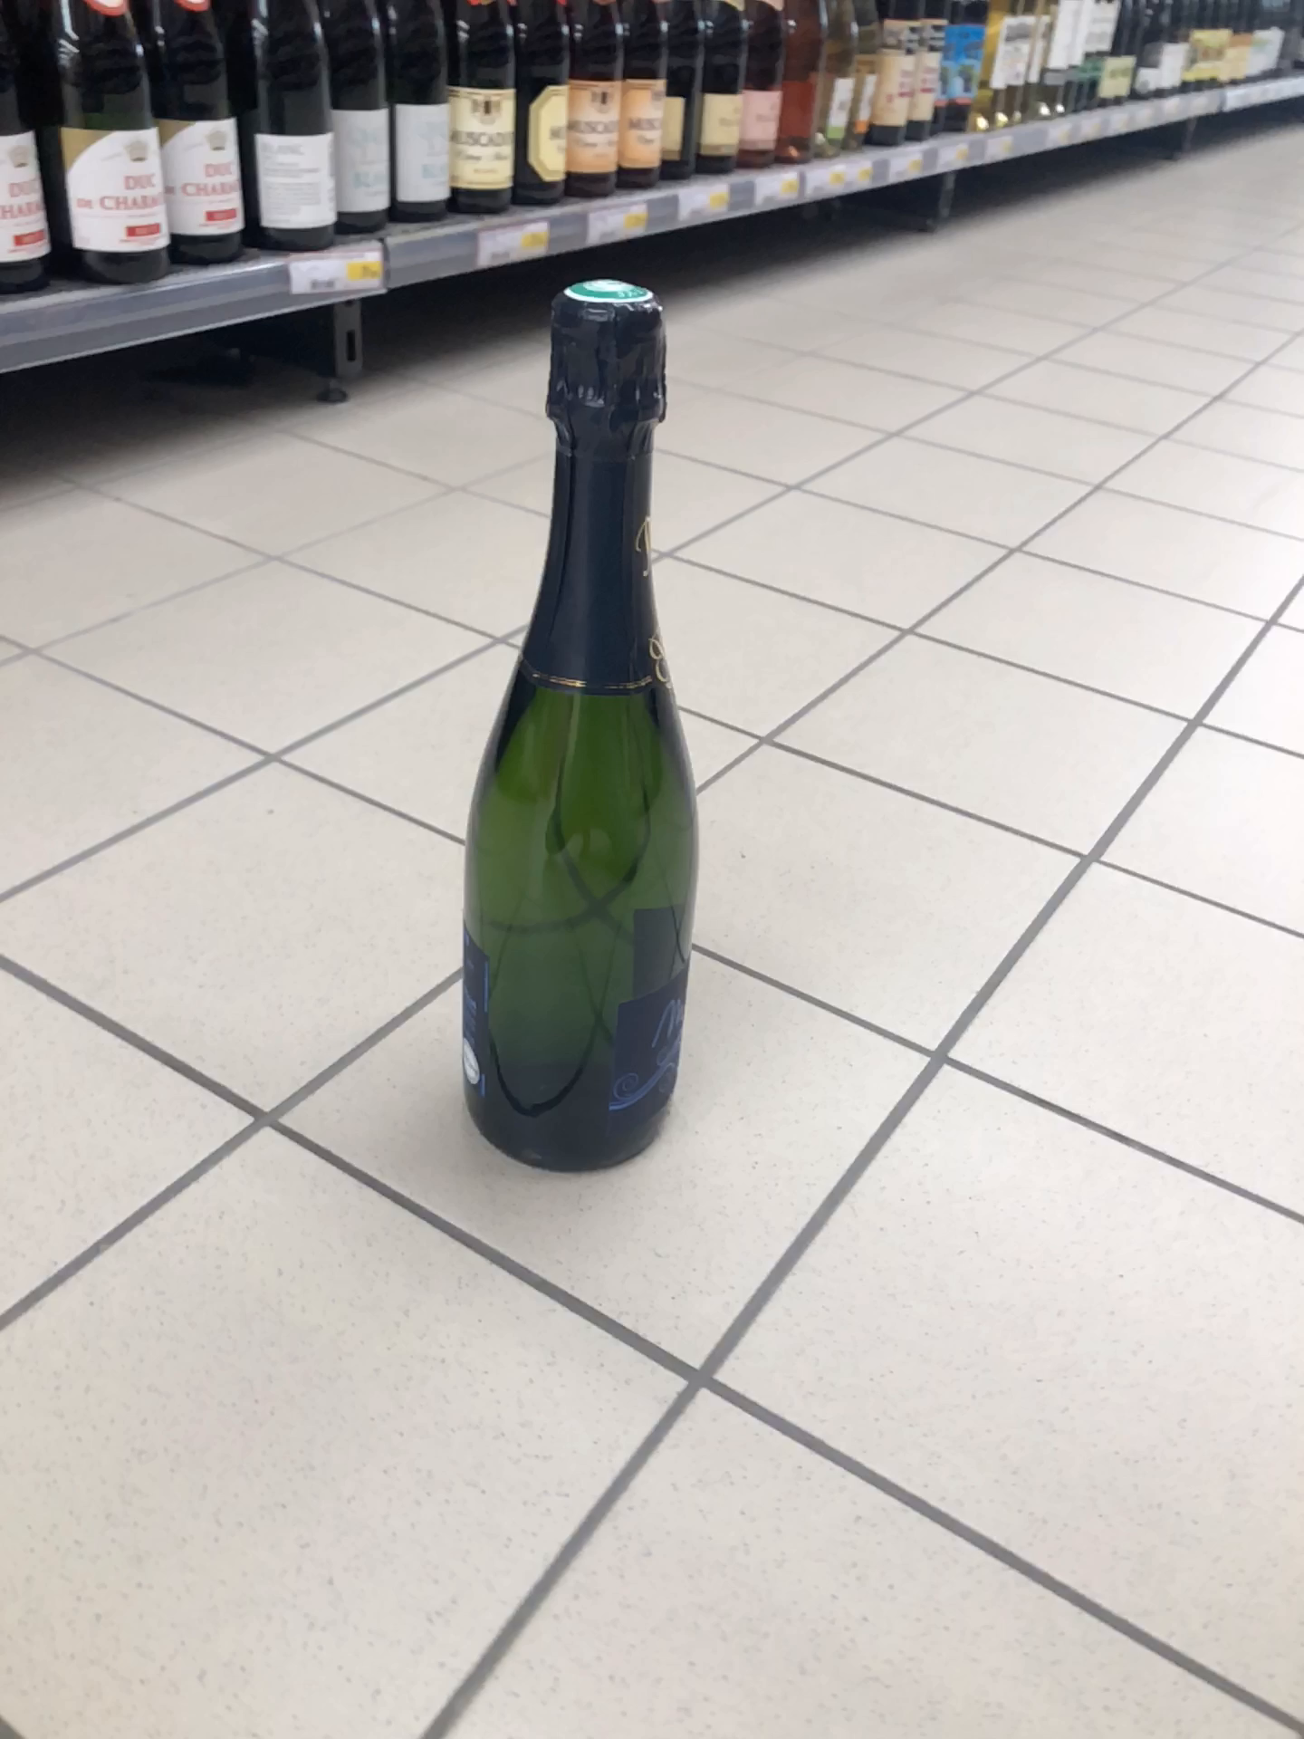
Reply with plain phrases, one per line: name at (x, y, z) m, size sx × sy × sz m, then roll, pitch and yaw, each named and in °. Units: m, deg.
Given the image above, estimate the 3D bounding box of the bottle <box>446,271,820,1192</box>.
bottle at (-0.021, -0.037, 0.506) m, size 0.090 × 0.308 × 0.090 m, roll 4°, pitch 32°, yaw -2°
